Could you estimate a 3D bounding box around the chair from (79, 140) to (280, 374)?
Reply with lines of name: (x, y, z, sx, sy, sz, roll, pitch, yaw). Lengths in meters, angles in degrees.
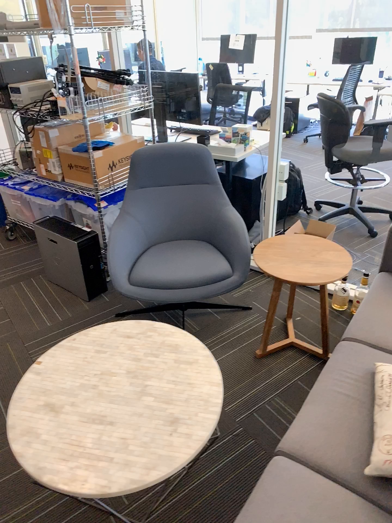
chair: (-0.064, -0.080, 2.344, 0.840, 0.964, 1.006, -2, 31, 0)
